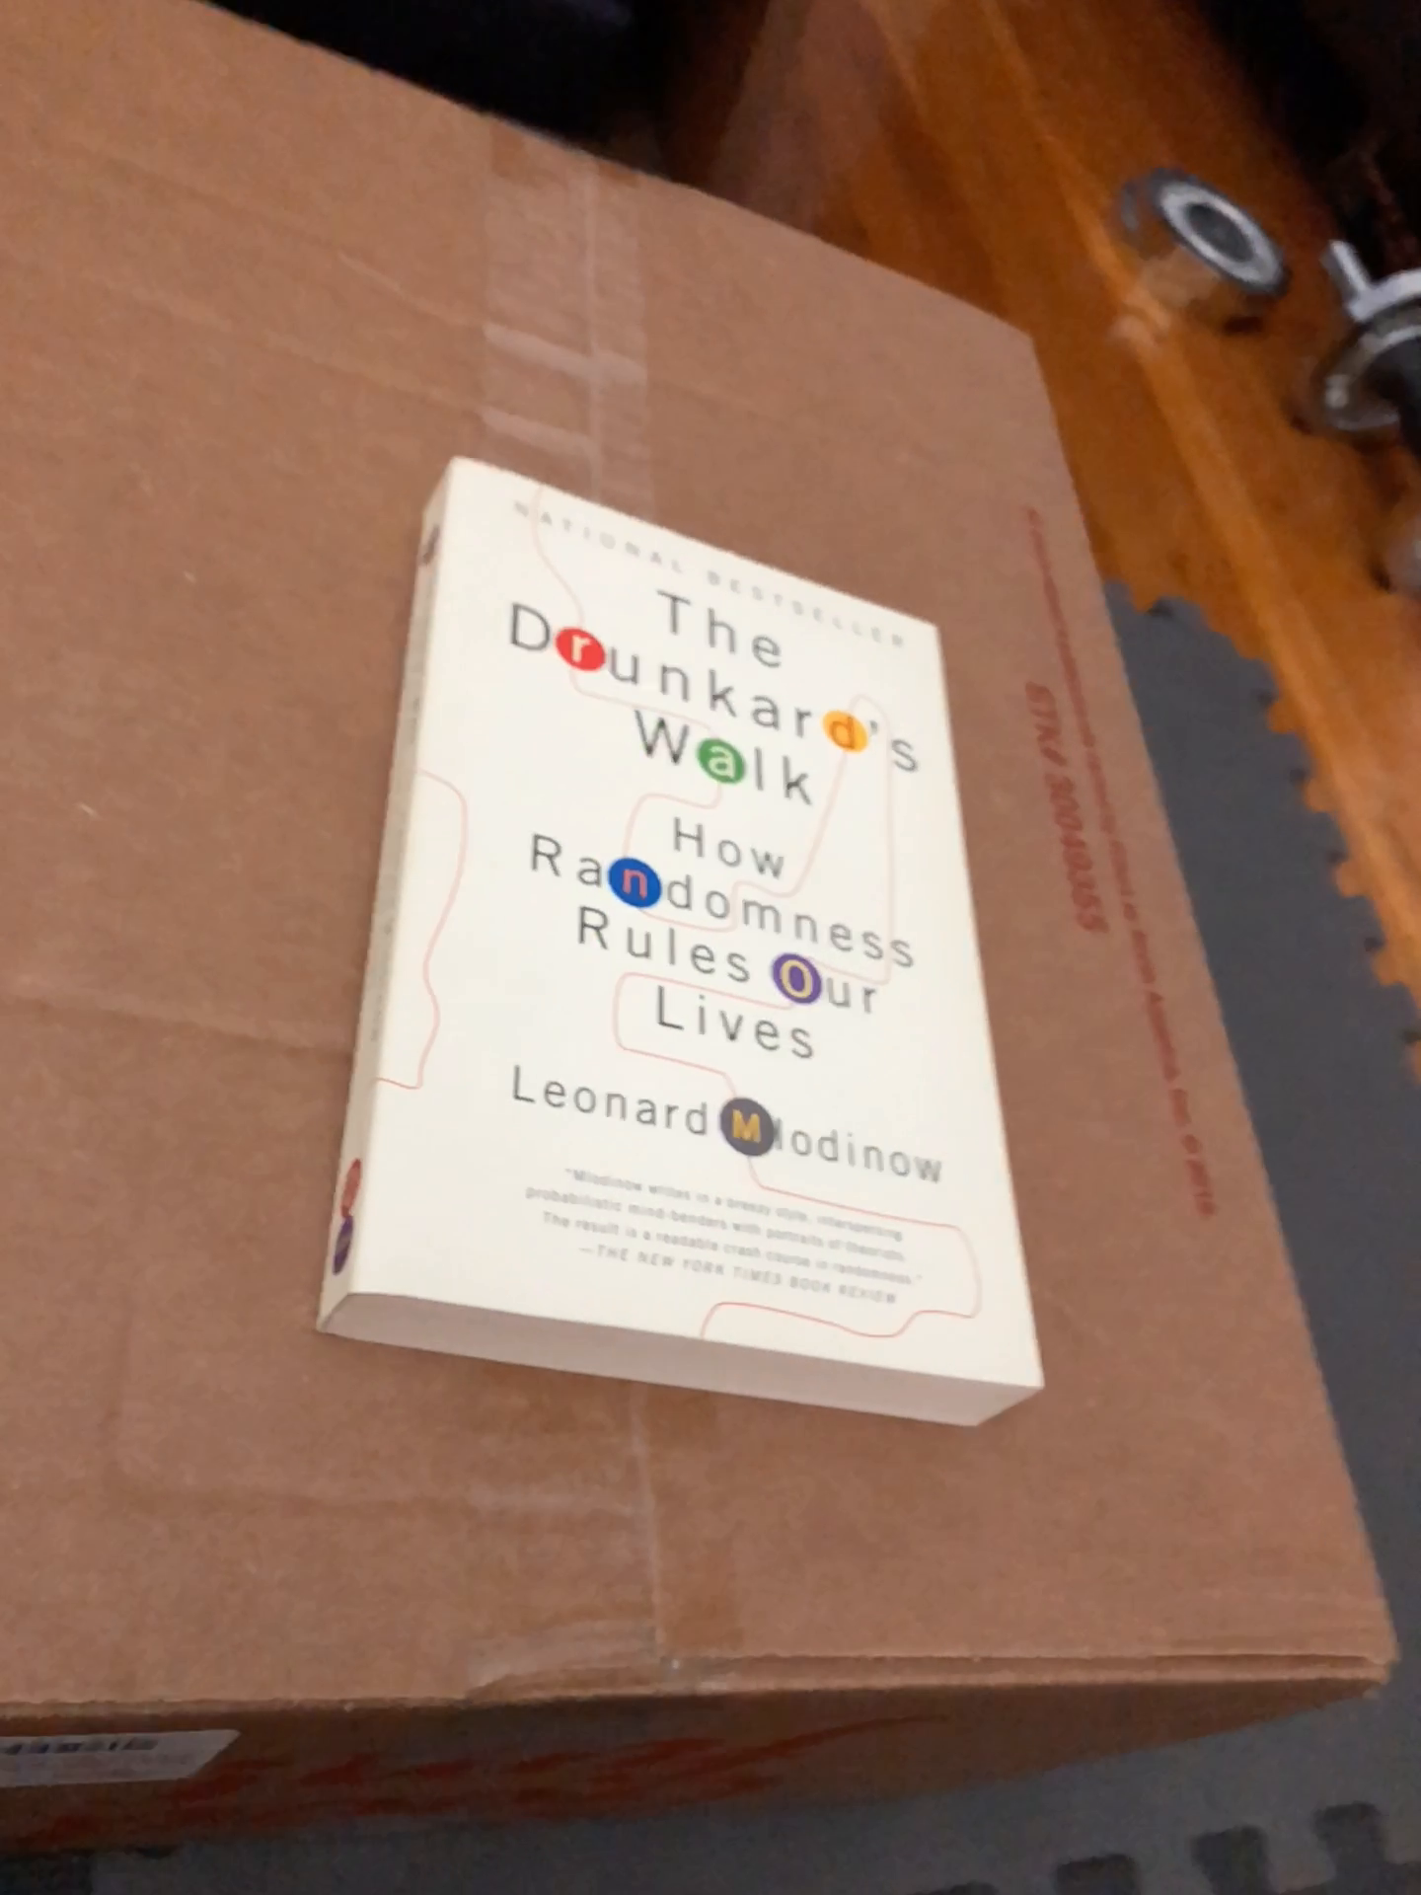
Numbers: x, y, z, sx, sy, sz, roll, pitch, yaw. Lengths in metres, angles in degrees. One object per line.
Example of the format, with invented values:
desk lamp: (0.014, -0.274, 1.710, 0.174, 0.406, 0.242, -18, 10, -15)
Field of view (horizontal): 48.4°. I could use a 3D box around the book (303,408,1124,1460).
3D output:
book: (0.001, -0.009, 0.337, 0.140, 0.040, 0.211, 13, 53, -21)
